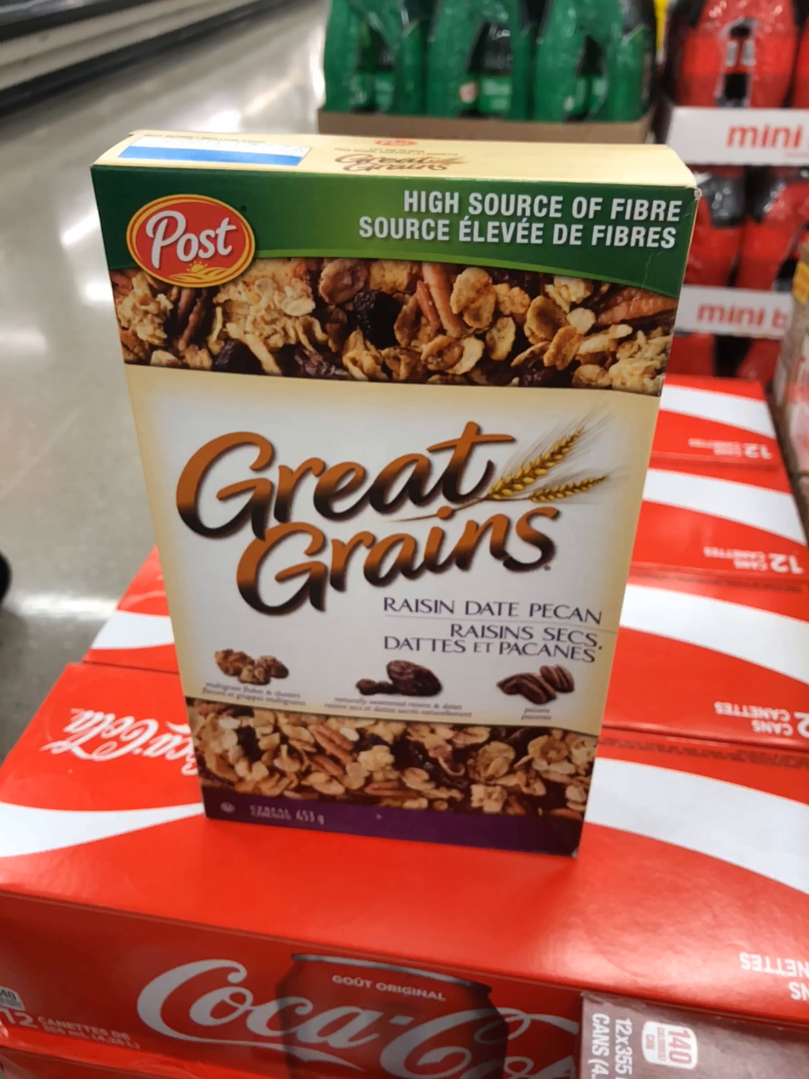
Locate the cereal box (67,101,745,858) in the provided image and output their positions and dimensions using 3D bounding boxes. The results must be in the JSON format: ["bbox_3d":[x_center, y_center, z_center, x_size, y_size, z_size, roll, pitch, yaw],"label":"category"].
[{"bbox_3d":[0.001,-0.002,0.323,0.170,0.269,0.050,5,35,7],"label":"cereal box"}]
